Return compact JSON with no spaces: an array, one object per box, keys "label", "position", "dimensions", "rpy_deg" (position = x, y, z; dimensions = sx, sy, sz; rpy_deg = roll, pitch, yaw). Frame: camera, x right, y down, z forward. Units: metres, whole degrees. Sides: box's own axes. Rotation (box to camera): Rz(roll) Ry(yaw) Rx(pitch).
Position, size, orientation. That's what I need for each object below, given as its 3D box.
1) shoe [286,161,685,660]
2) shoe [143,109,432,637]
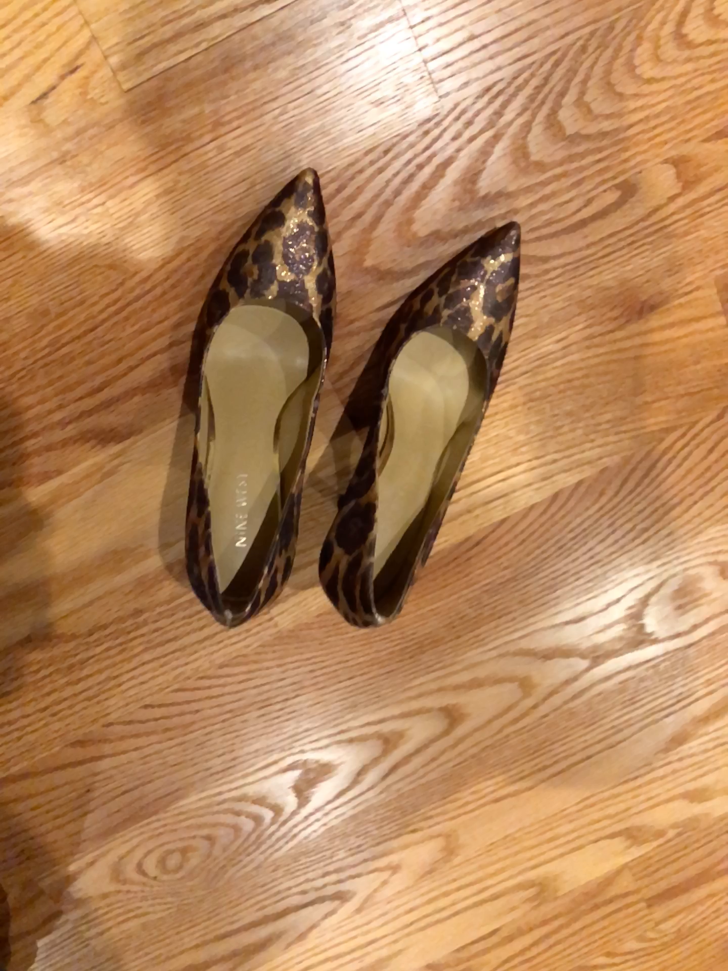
[{"label":"shoe","position":[0.046,-0.046,0.436],"dimensions":[0.084,0.144,0.218],"rpy_deg":[23,103,-16]},{"label":"shoe","position":[-0.048,-0.059,0.417],"dimensions":[0.084,0.144,0.219],"rpy_deg":[10,107,-12]}]
